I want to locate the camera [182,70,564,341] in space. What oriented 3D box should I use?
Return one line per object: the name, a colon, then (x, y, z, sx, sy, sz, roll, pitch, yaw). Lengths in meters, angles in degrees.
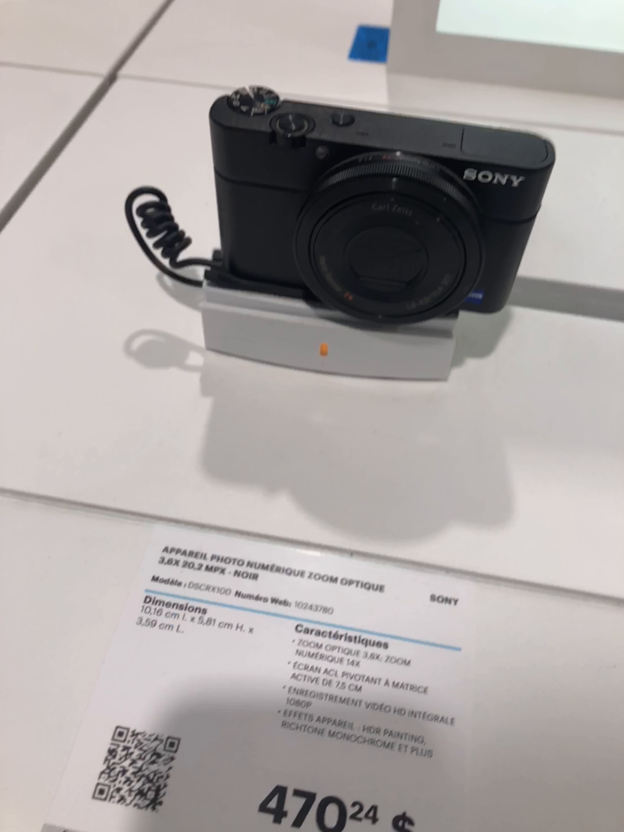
camera: (0.017, -0.064, 0.214, 0.100, 0.056, 0.036, 10, 50, 7)
